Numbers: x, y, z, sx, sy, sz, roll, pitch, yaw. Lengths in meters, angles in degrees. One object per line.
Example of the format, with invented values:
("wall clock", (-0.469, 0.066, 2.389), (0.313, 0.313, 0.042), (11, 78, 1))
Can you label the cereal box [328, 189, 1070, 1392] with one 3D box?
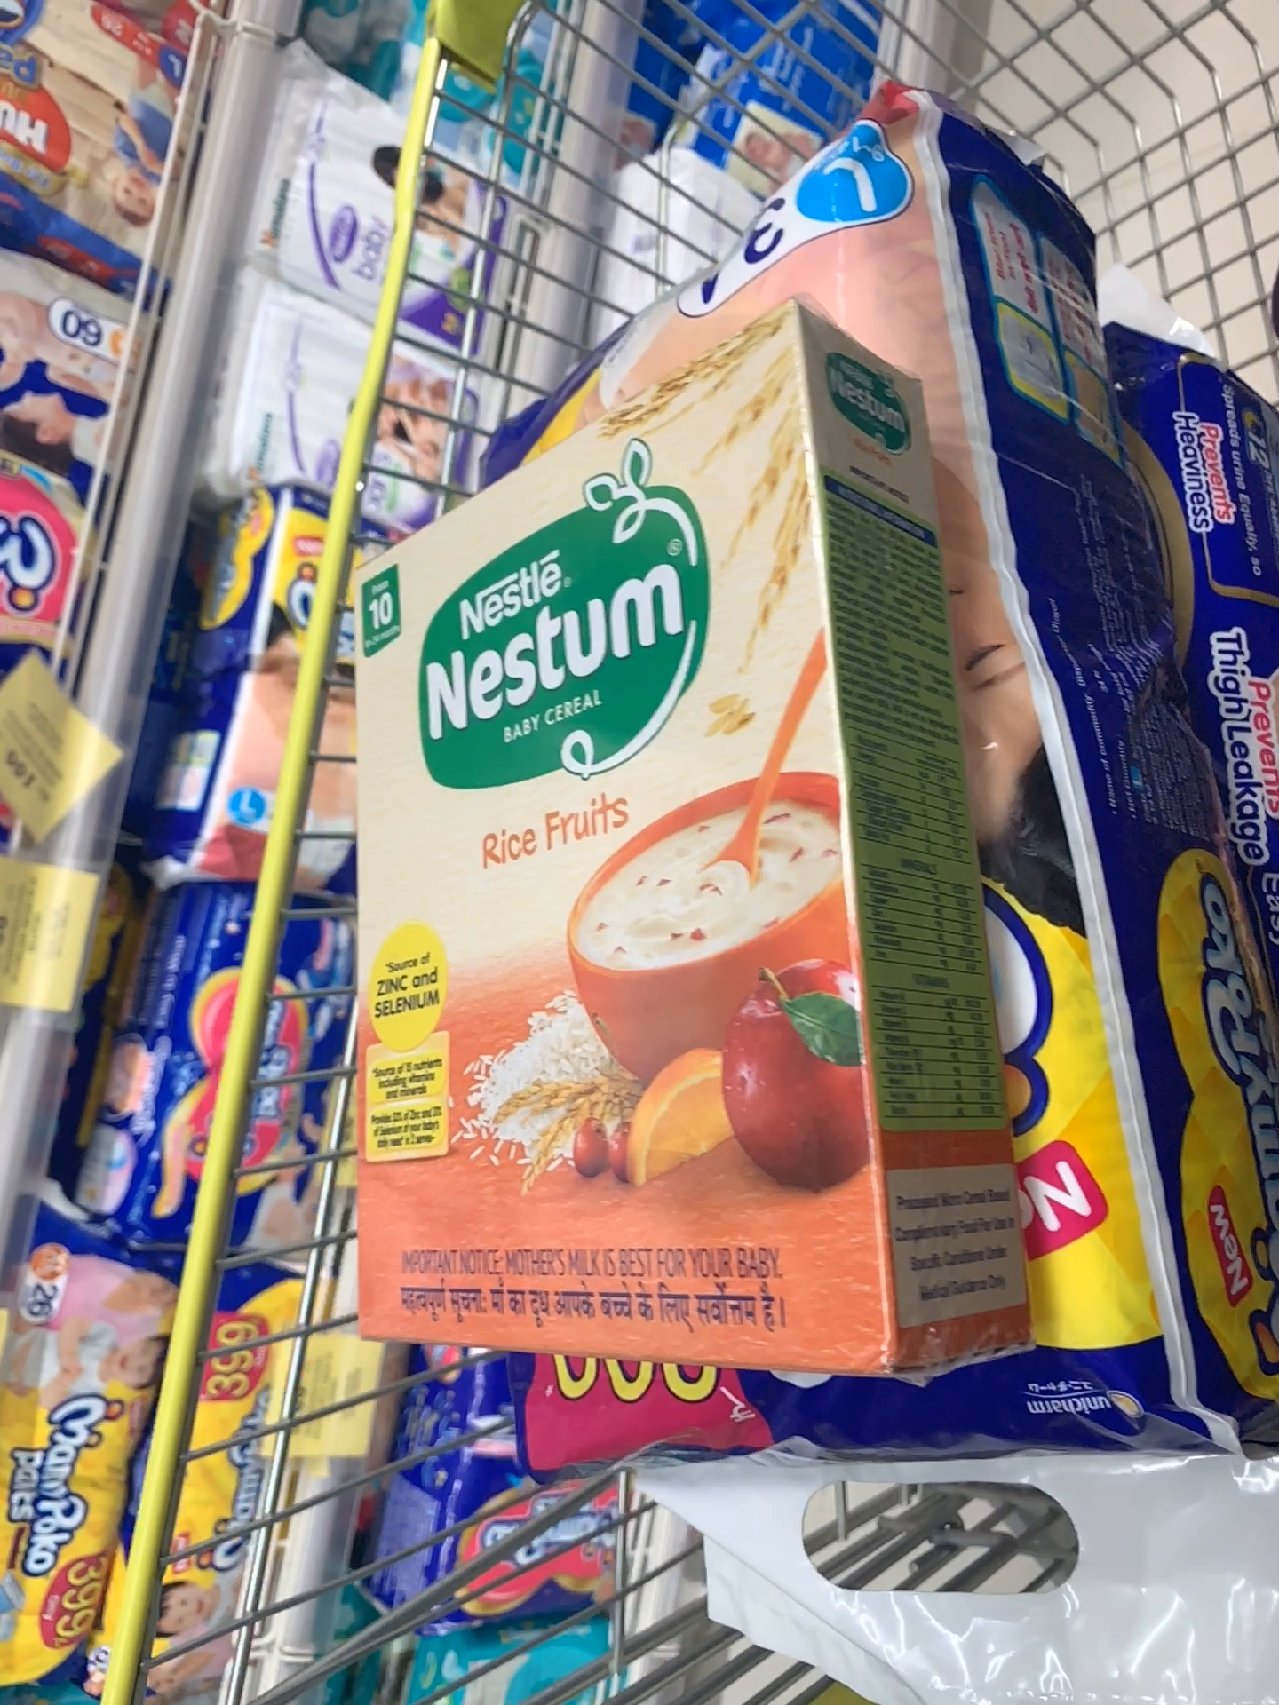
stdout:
("cereal box", (-0.004, -0.002, 0.295), (0.161, 0.050, 0.210), (-16, 72, 44))
